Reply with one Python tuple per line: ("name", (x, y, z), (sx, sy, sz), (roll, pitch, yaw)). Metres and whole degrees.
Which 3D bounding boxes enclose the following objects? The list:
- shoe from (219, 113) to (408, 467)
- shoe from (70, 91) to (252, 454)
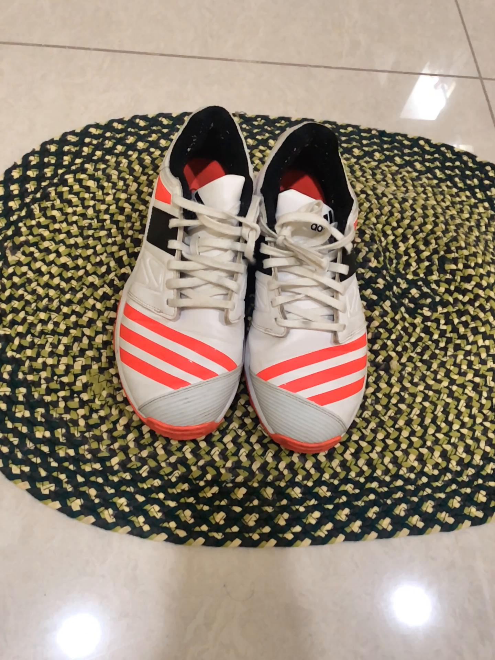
("shoe", (0.045, -0.031, 0.432), (0.110, 0.100, 0.250), (6, 66, -6))
("shoe", (-0.059, -0.049, 0.439), (0.100, 0.090, 0.270), (6, 66, -6))
